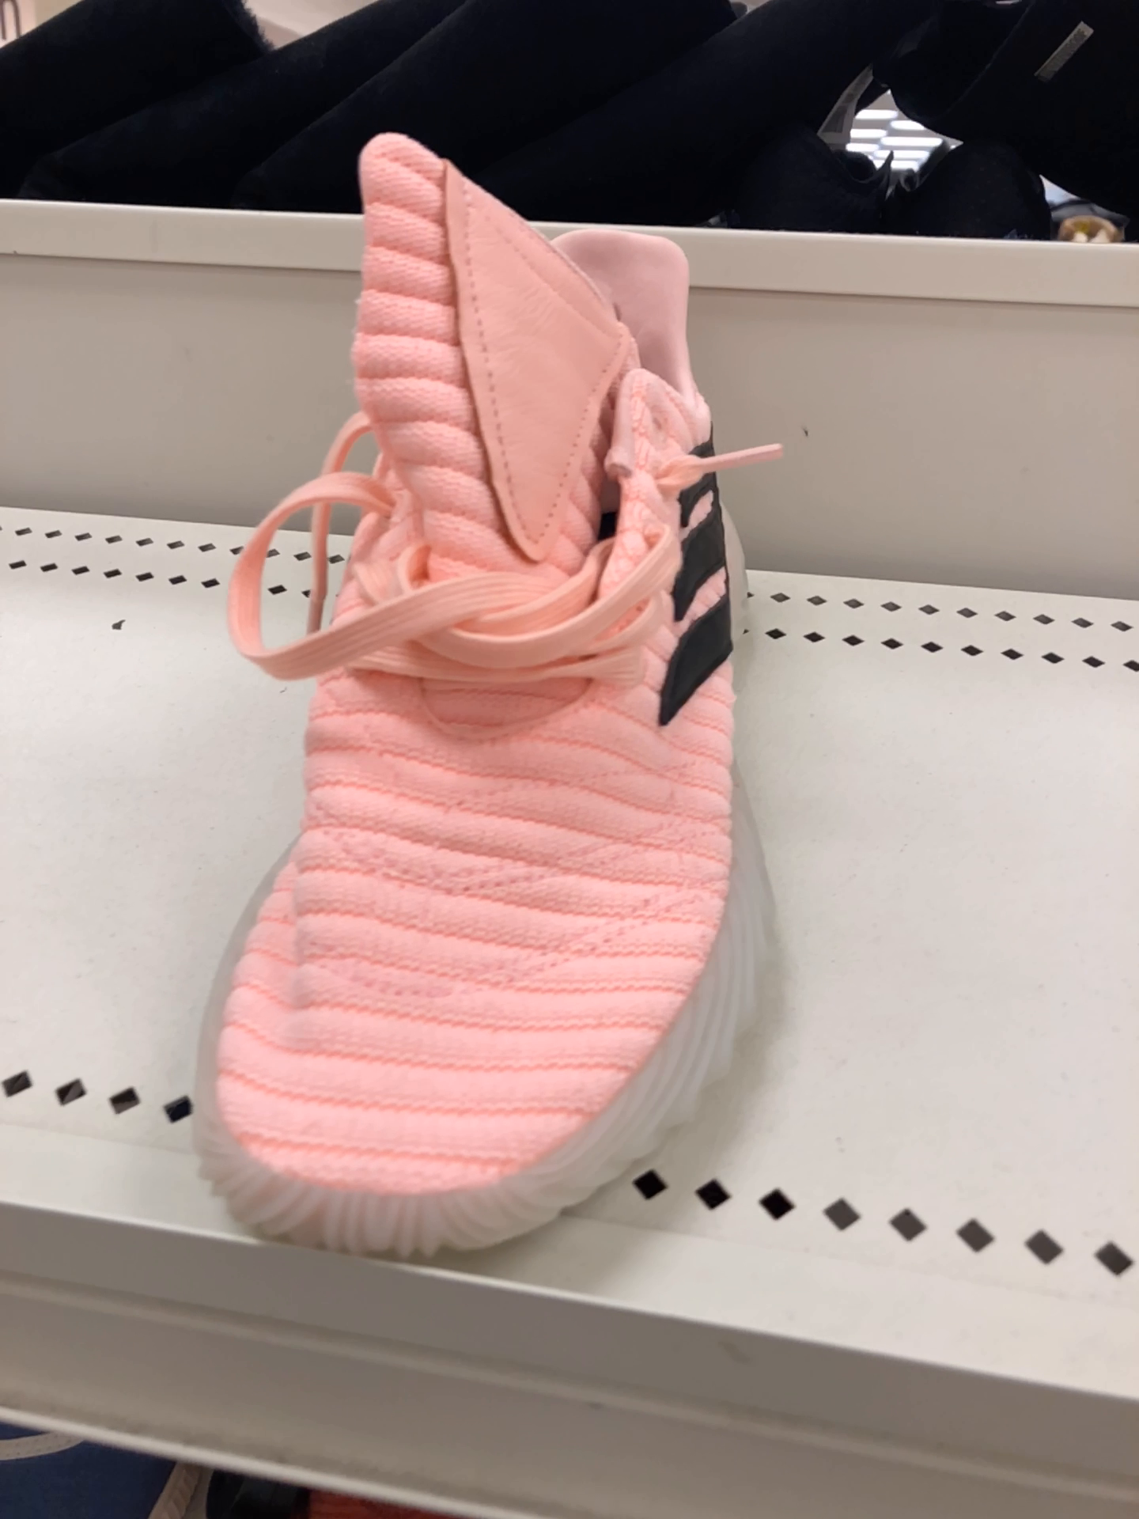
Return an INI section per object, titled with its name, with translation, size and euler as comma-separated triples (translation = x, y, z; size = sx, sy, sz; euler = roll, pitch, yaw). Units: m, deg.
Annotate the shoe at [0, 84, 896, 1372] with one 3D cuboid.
[shoe]
translation = 0.005, -0.059, 0.314
size = 0.120, 0.169, 0.323
euler = 7, 33, 12
